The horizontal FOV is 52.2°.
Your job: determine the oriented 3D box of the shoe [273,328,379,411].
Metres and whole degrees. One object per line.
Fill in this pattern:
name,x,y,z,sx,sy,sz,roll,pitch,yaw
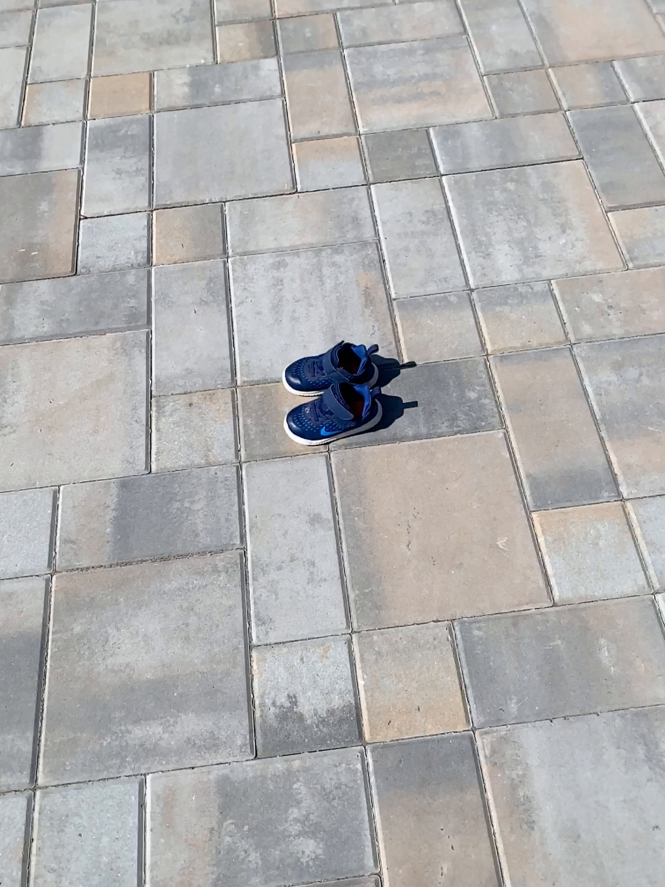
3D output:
shoe,-0.011,-0.128,1.179,0.170,0.090,0.090,-6,62,0

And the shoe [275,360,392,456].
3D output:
shoe,0.002,-0.057,1.115,0.170,0.090,0.090,-12,63,-4
